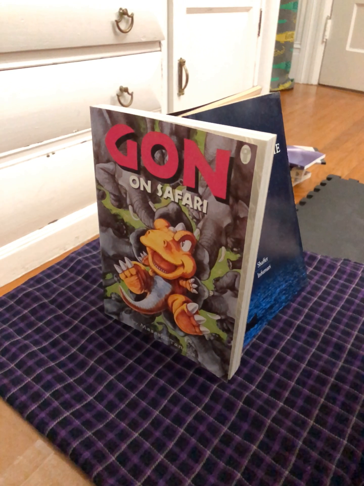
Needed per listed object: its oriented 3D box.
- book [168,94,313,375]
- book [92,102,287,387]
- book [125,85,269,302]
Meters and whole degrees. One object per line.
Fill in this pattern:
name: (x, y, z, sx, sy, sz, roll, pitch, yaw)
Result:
book: (0.065, -0.016, 0.350, 0.010, 0.199, 0.151, -1, 22, 41)
book: (-0.008, 0.001, 0.308, 0.140, 0.189, 0.020, 19, 28, 27)
book: (0.012, -0.045, 0.392, 0.010, 0.199, 0.141, 35, 43, 16)
